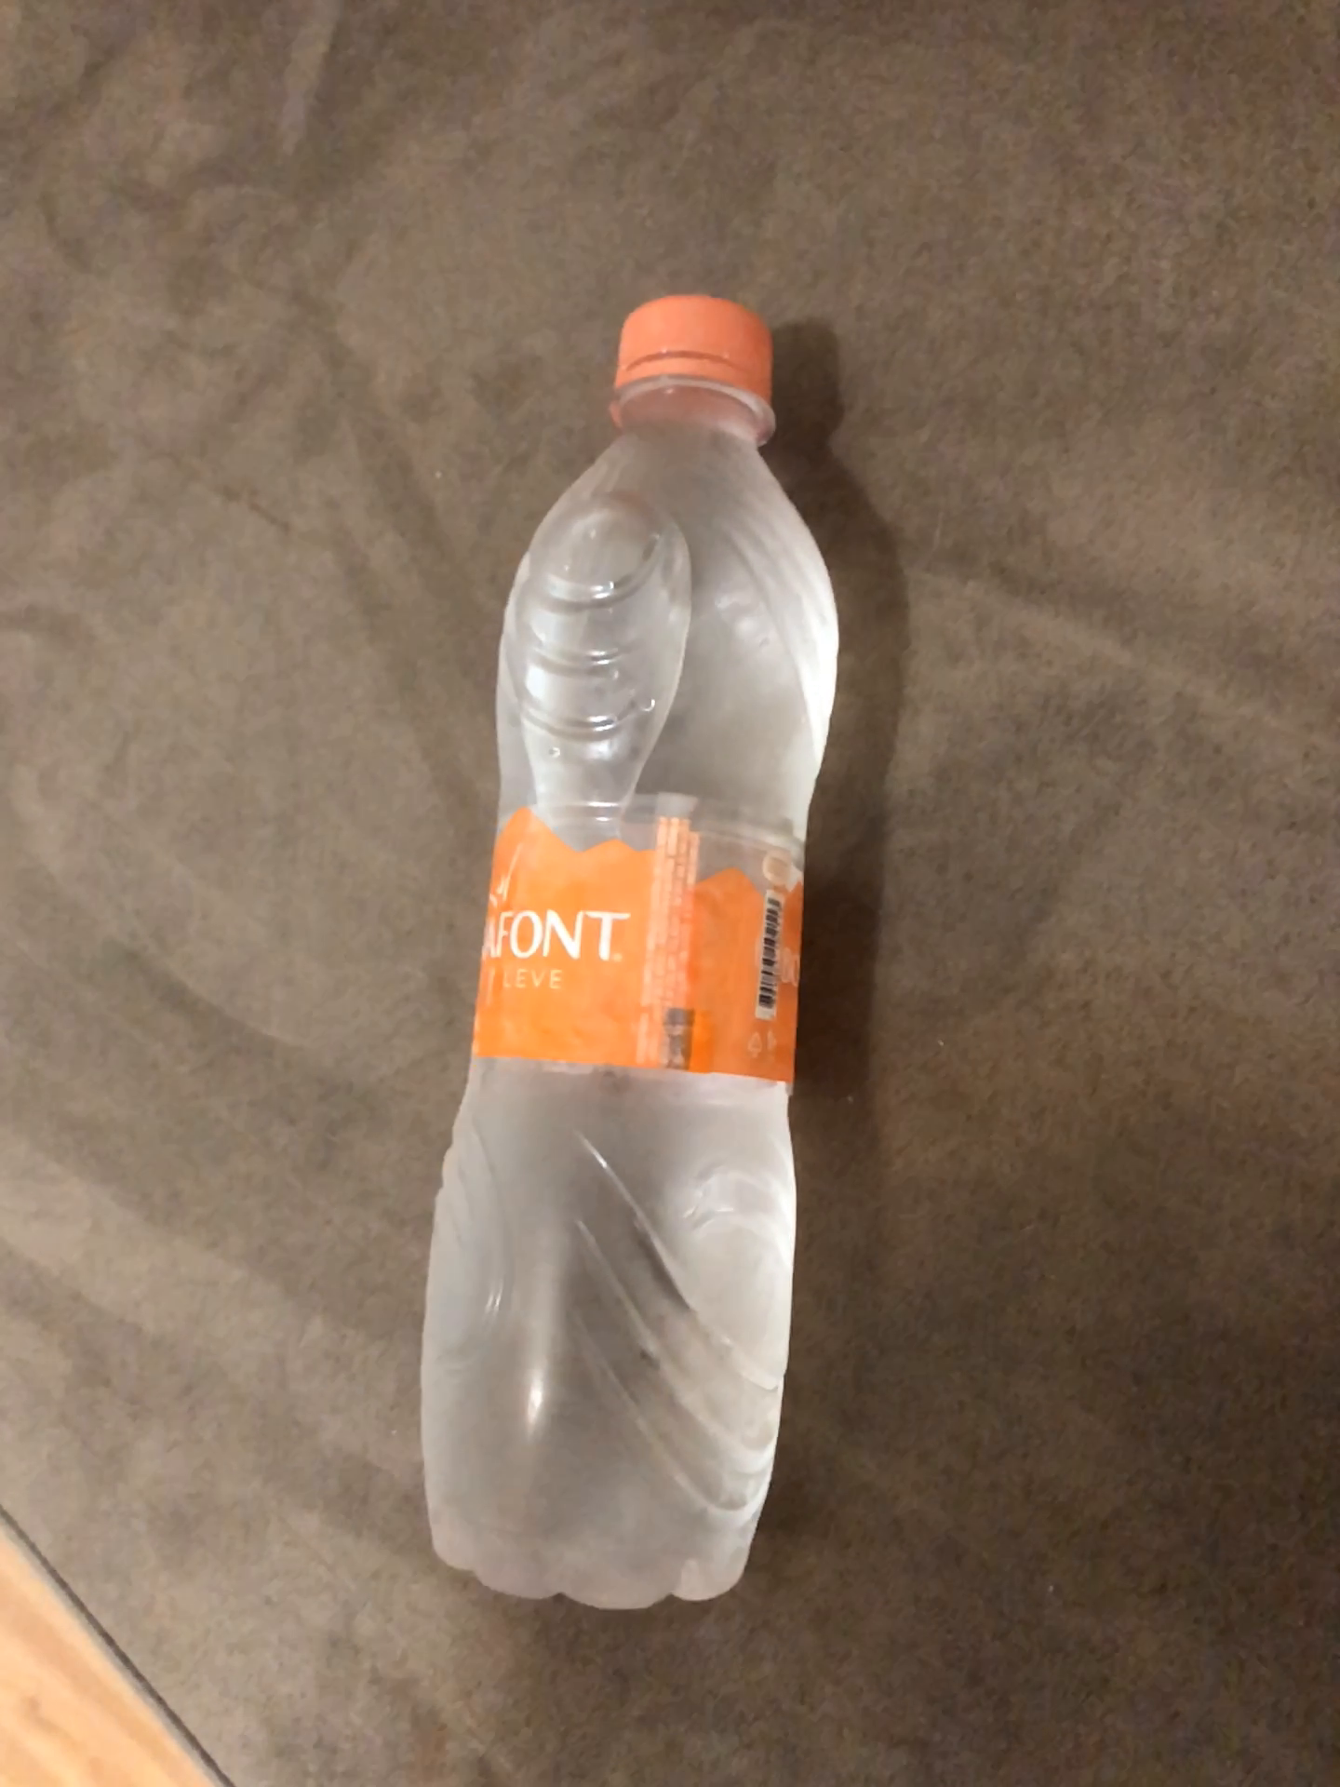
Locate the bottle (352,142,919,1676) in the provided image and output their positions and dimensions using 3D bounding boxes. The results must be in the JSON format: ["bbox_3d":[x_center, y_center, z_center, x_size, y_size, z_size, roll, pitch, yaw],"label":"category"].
[{"bbox_3d":[-0.002,-0.002,0.269,0.070,0.050,0.240,0,82,26],"label":"bottle"}]
